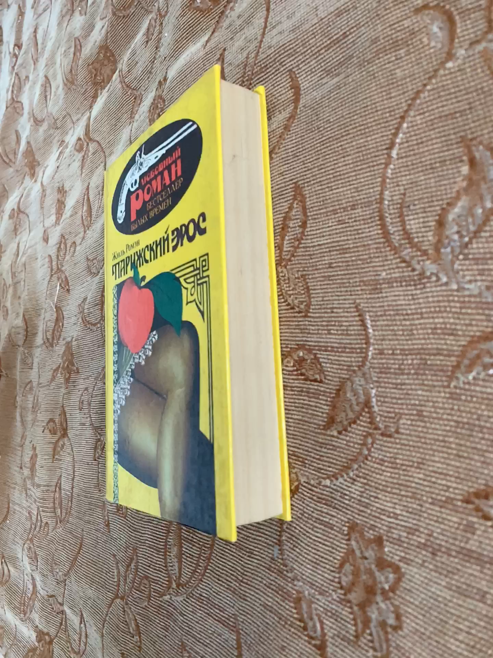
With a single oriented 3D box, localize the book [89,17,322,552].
[{"bbox_3d":[-0.032,-0.014,0.245,0.131,0.040,0.196,-13,77,51],"label":"book"}]
